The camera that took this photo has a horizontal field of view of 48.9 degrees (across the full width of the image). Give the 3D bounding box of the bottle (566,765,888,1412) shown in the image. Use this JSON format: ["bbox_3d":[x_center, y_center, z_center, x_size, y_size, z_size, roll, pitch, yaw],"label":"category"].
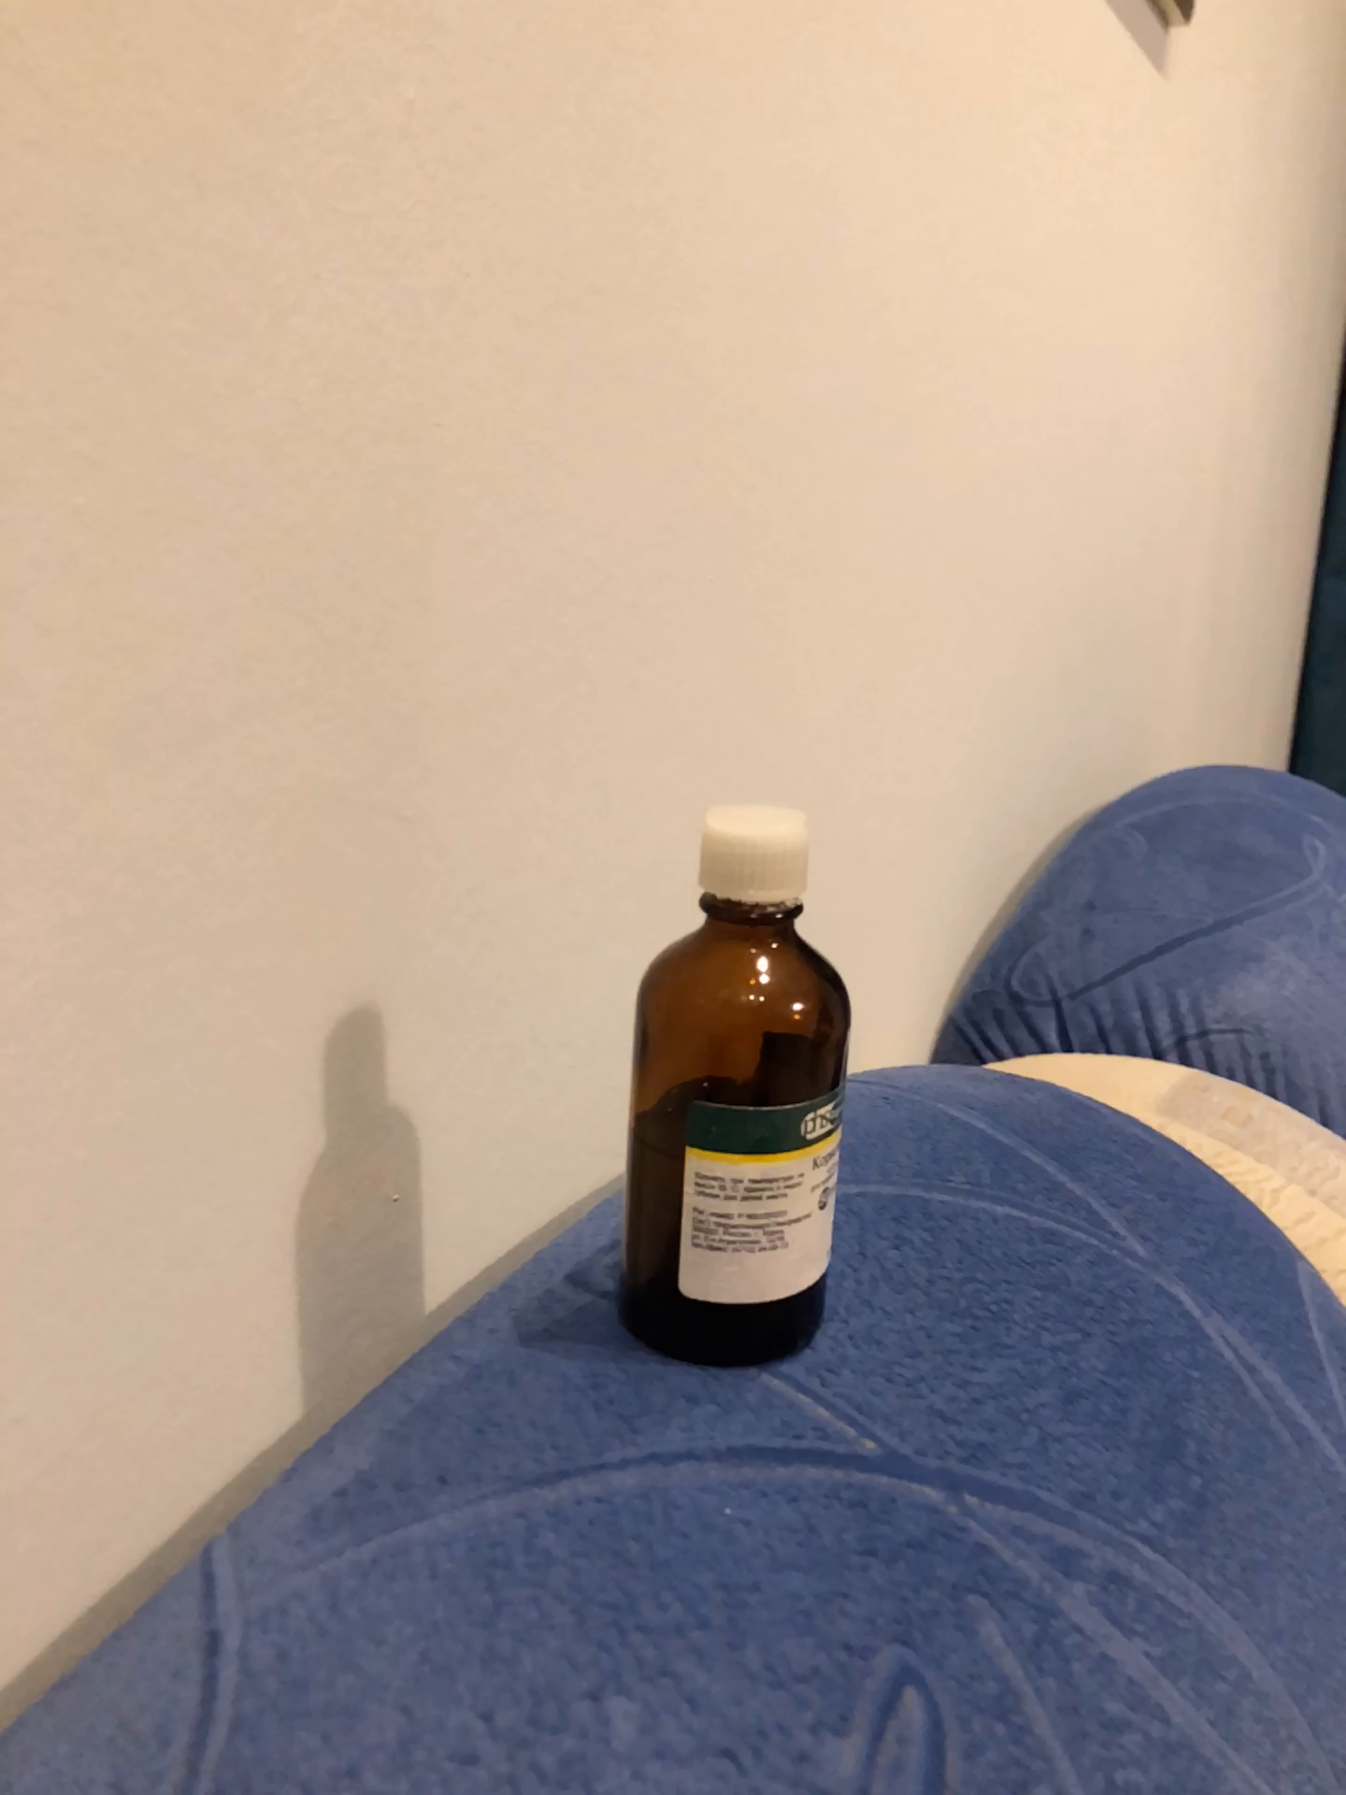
[{"bbox_3d":[0.010,0.031,0.266,0.040,0.100,0.045,8,16,23],"label":"bottle"}]
